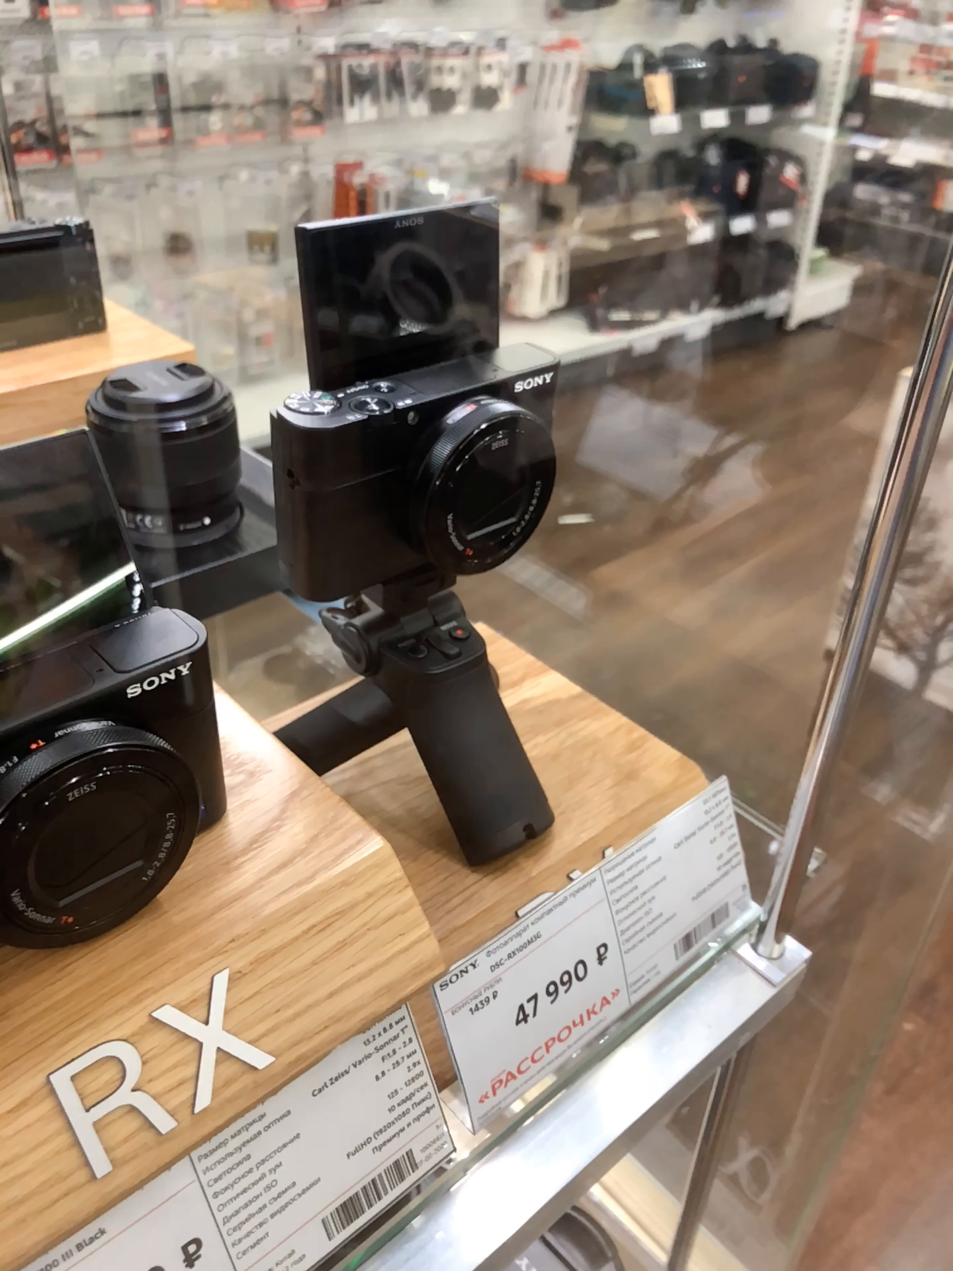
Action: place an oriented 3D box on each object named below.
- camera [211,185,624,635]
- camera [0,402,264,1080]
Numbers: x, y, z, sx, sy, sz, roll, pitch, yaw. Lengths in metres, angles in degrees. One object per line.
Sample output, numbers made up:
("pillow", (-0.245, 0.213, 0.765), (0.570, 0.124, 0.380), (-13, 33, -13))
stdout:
("camera", (-0.017, -0.073, 0.325), (0.102, 0.102, 0.057), (-24, 42, -35))
("camera", (-0.113, 0.017, 0.239), (0.102, 0.102, 0.065), (-24, 42, -35))
